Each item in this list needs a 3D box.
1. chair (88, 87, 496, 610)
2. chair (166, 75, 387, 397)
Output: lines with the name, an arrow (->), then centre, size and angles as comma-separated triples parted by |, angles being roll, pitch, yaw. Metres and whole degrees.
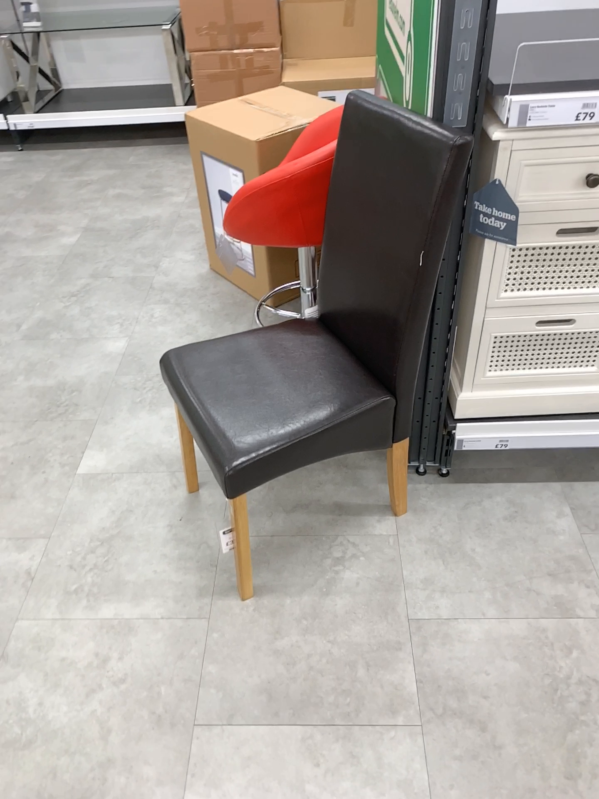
chair -> -0.009, -0.085, 1.314 | 0.556, 0.912, 0.429 | -20, 43, -18
chair -> -0.019, -0.472, 1.794 | 0.456, 0.774, 0.429 | 8, 42, 14
